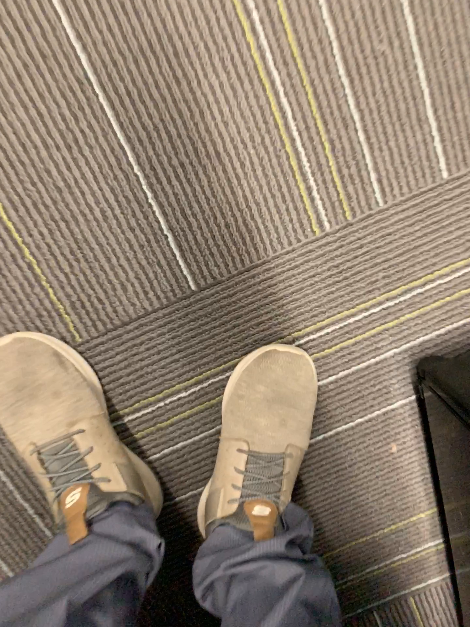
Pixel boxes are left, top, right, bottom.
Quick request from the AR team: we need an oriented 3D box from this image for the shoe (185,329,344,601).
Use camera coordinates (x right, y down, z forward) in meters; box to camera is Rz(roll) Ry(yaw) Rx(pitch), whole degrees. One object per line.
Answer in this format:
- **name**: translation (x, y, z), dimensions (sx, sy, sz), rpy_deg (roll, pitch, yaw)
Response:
- **shoe**: translation (0.021, 0.182, 0.565), dimensions (0.107, 0.098, 0.302), rpy_deg (9, 109, -11)

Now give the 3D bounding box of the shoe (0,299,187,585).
- **shoe**: translation (-0.185, 0.153, 0.556), dimensions (0.126, 0.098, 0.302), rpy_deg (-27, 112, 3)
